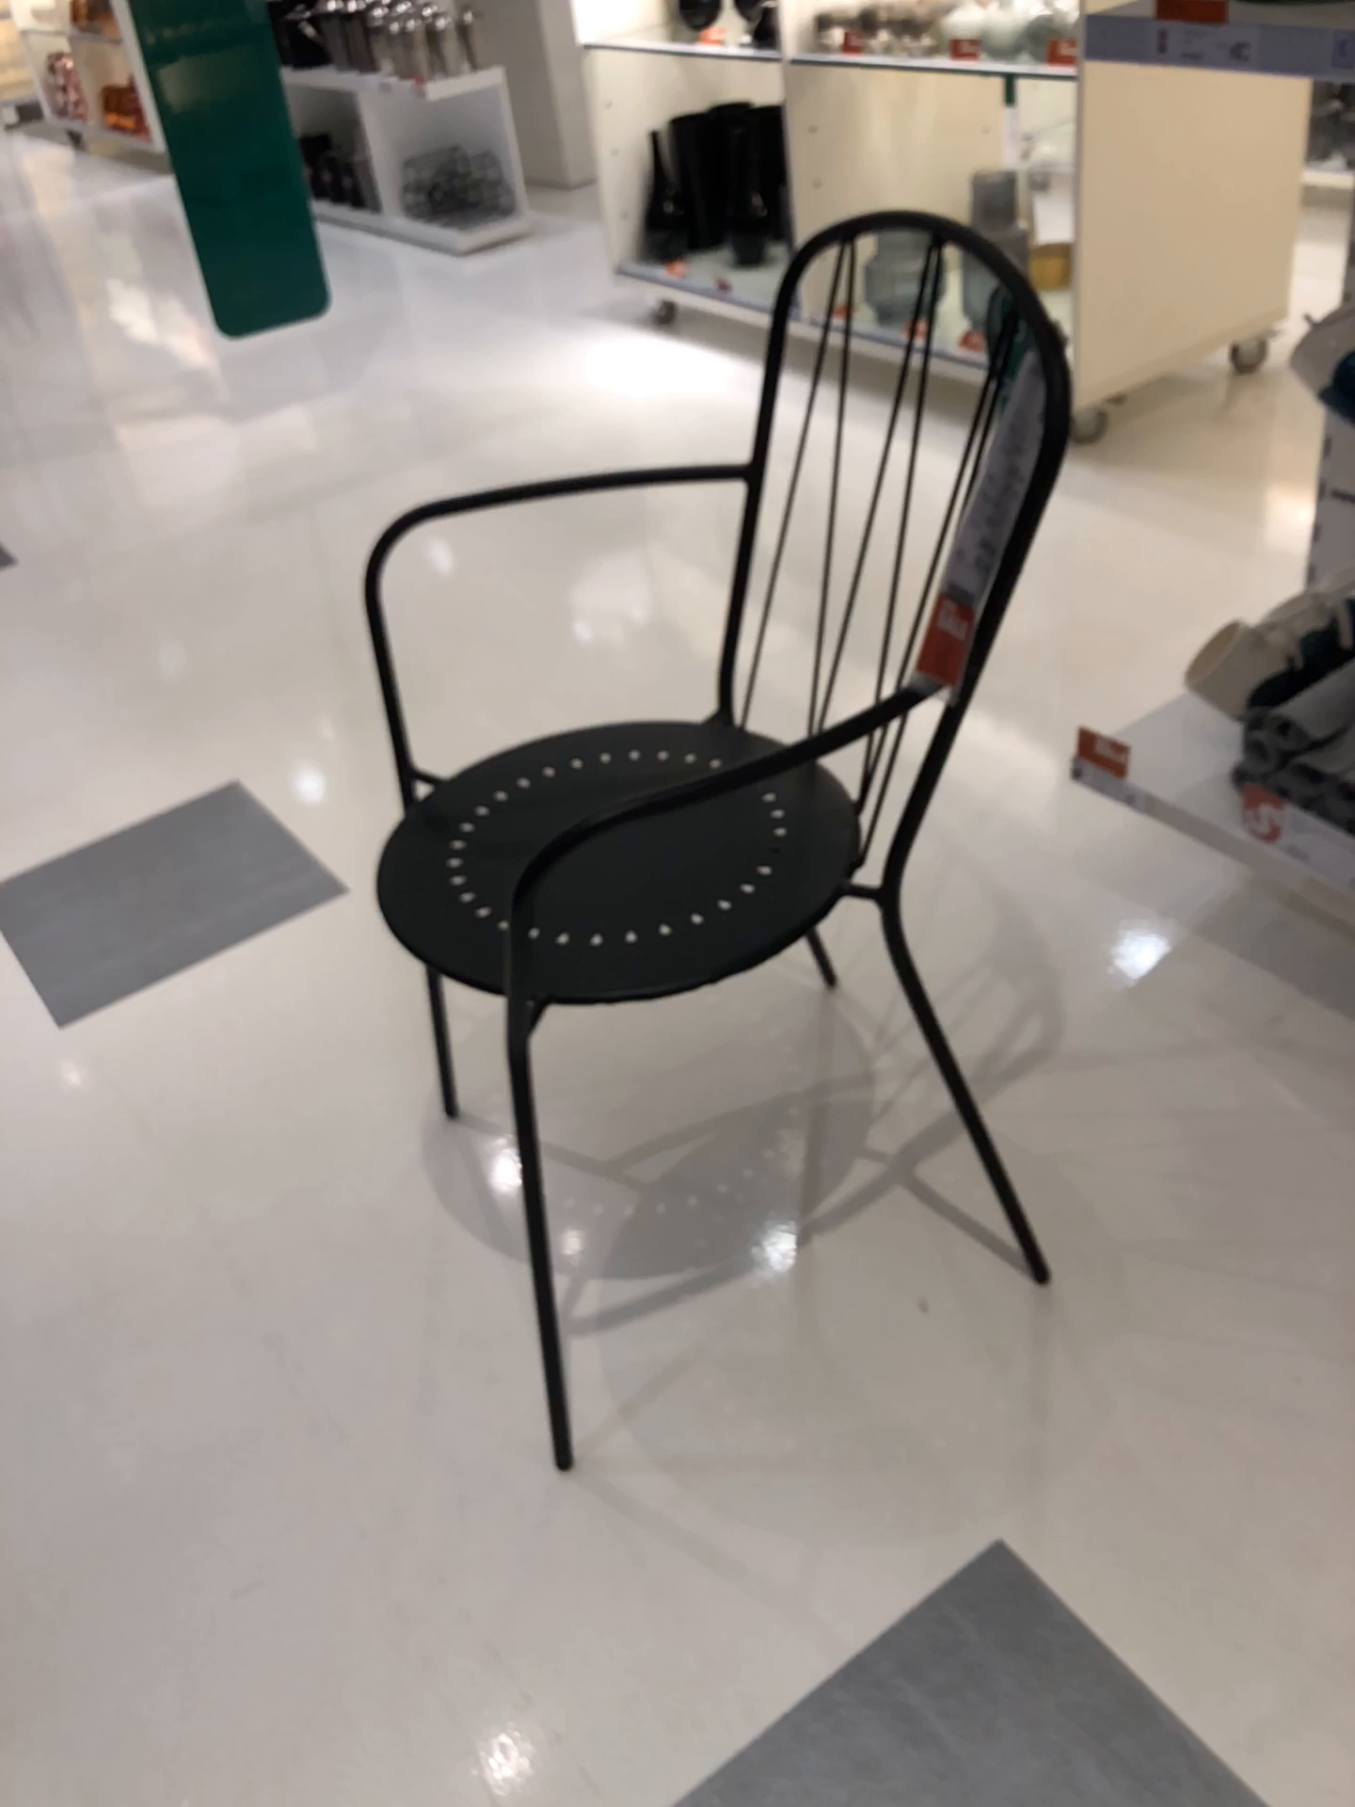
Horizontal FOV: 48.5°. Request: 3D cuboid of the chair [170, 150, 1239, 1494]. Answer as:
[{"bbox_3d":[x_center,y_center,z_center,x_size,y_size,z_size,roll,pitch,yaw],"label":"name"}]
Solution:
[{"bbox_3d":[0.019,-0.072,1.216,0.560,0.814,0.514,-17,37,-10],"label":"chair"}]
